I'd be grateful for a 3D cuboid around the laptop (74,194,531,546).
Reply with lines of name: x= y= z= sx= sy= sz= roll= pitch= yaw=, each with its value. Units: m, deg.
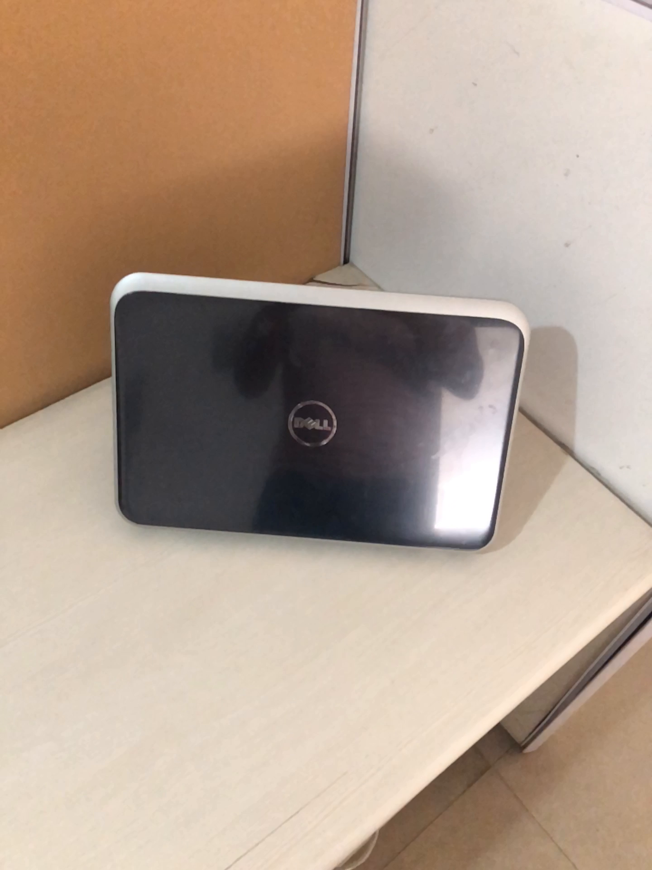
laptop: x=-0.009 y=-0.061 z=0.693 sx=0.347 sy=0.192 sz=0.241 roll=5 pitch=52 yaw=0
